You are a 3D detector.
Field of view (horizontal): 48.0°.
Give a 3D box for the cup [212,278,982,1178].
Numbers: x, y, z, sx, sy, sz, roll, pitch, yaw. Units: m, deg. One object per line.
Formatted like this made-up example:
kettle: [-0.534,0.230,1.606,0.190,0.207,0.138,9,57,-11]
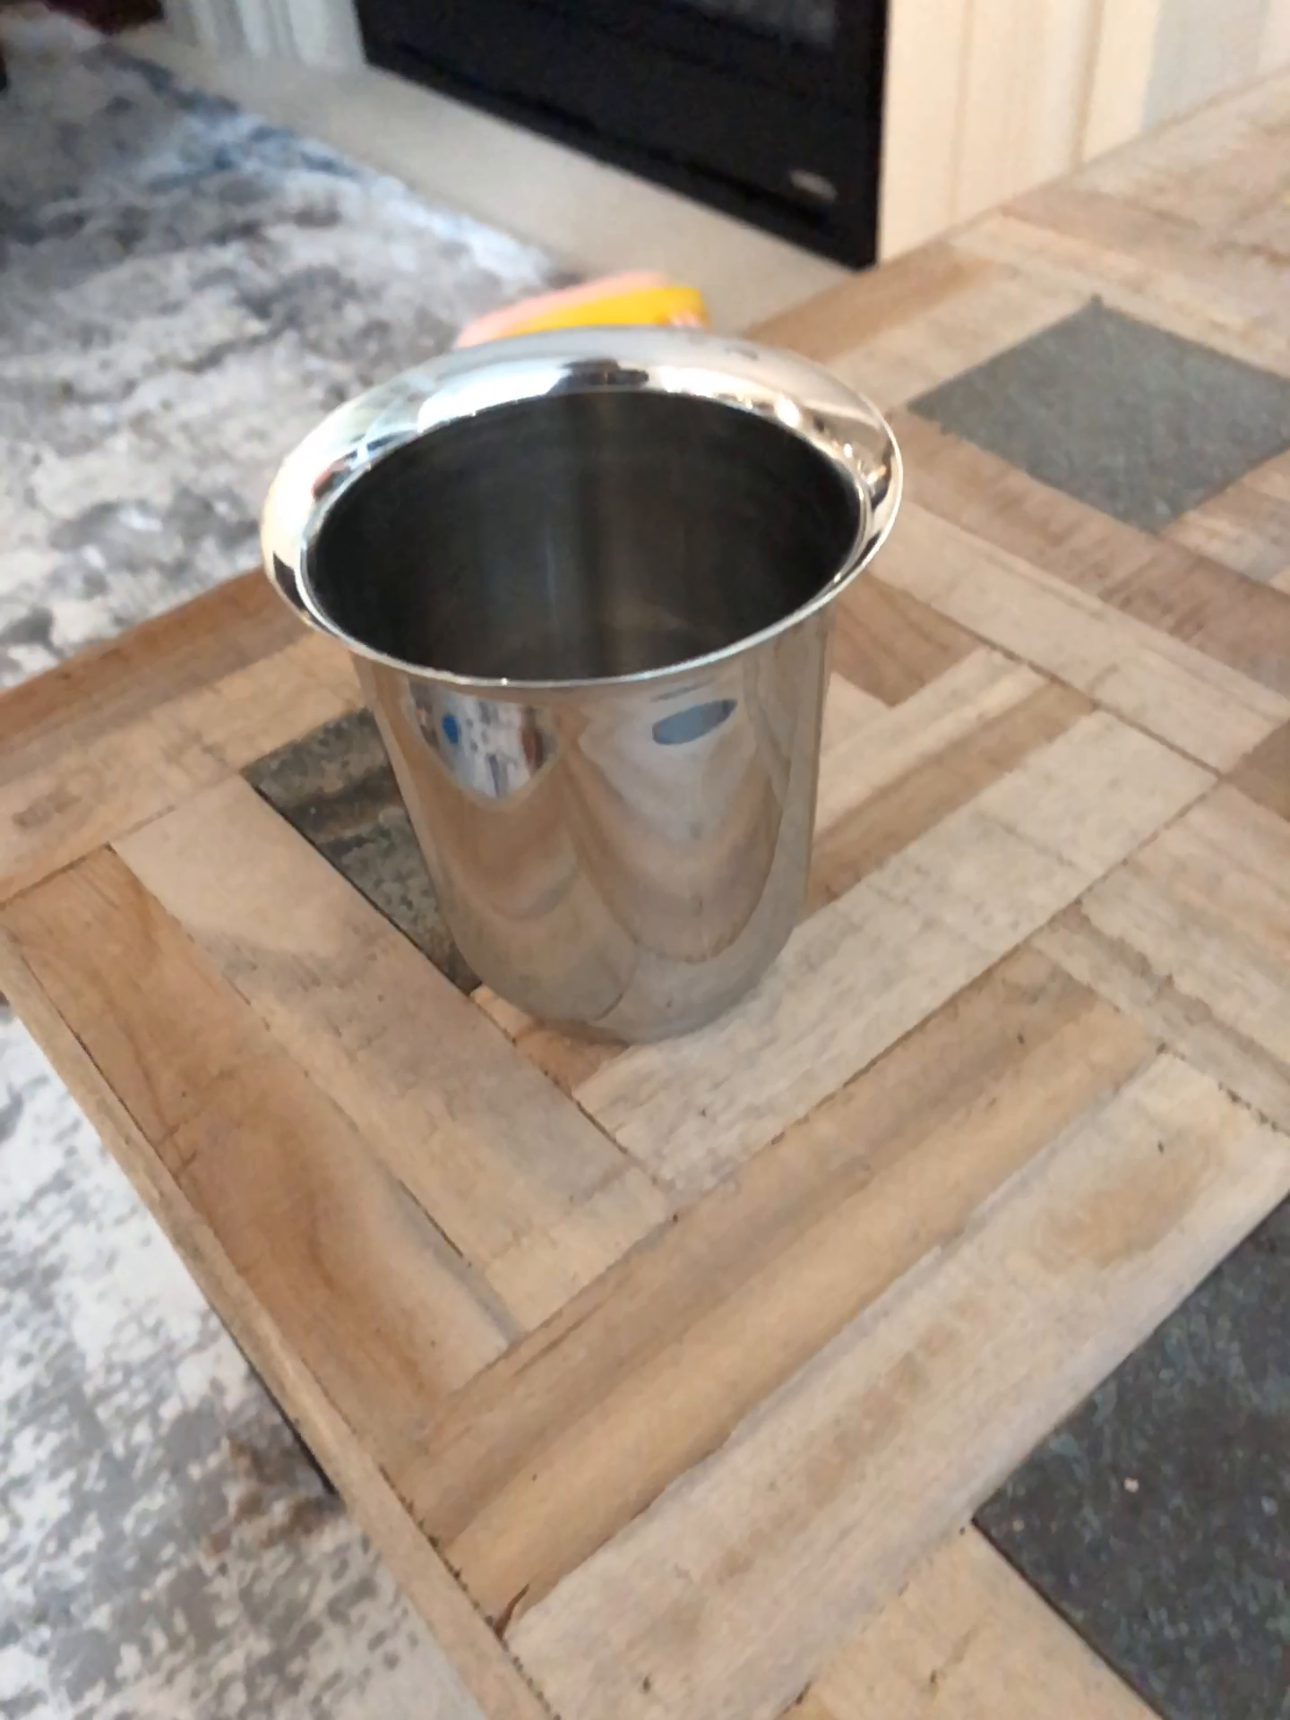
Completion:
cup: [-0.009,-0.020,0.218,0.084,0.088,0.082,-3,47,3]
